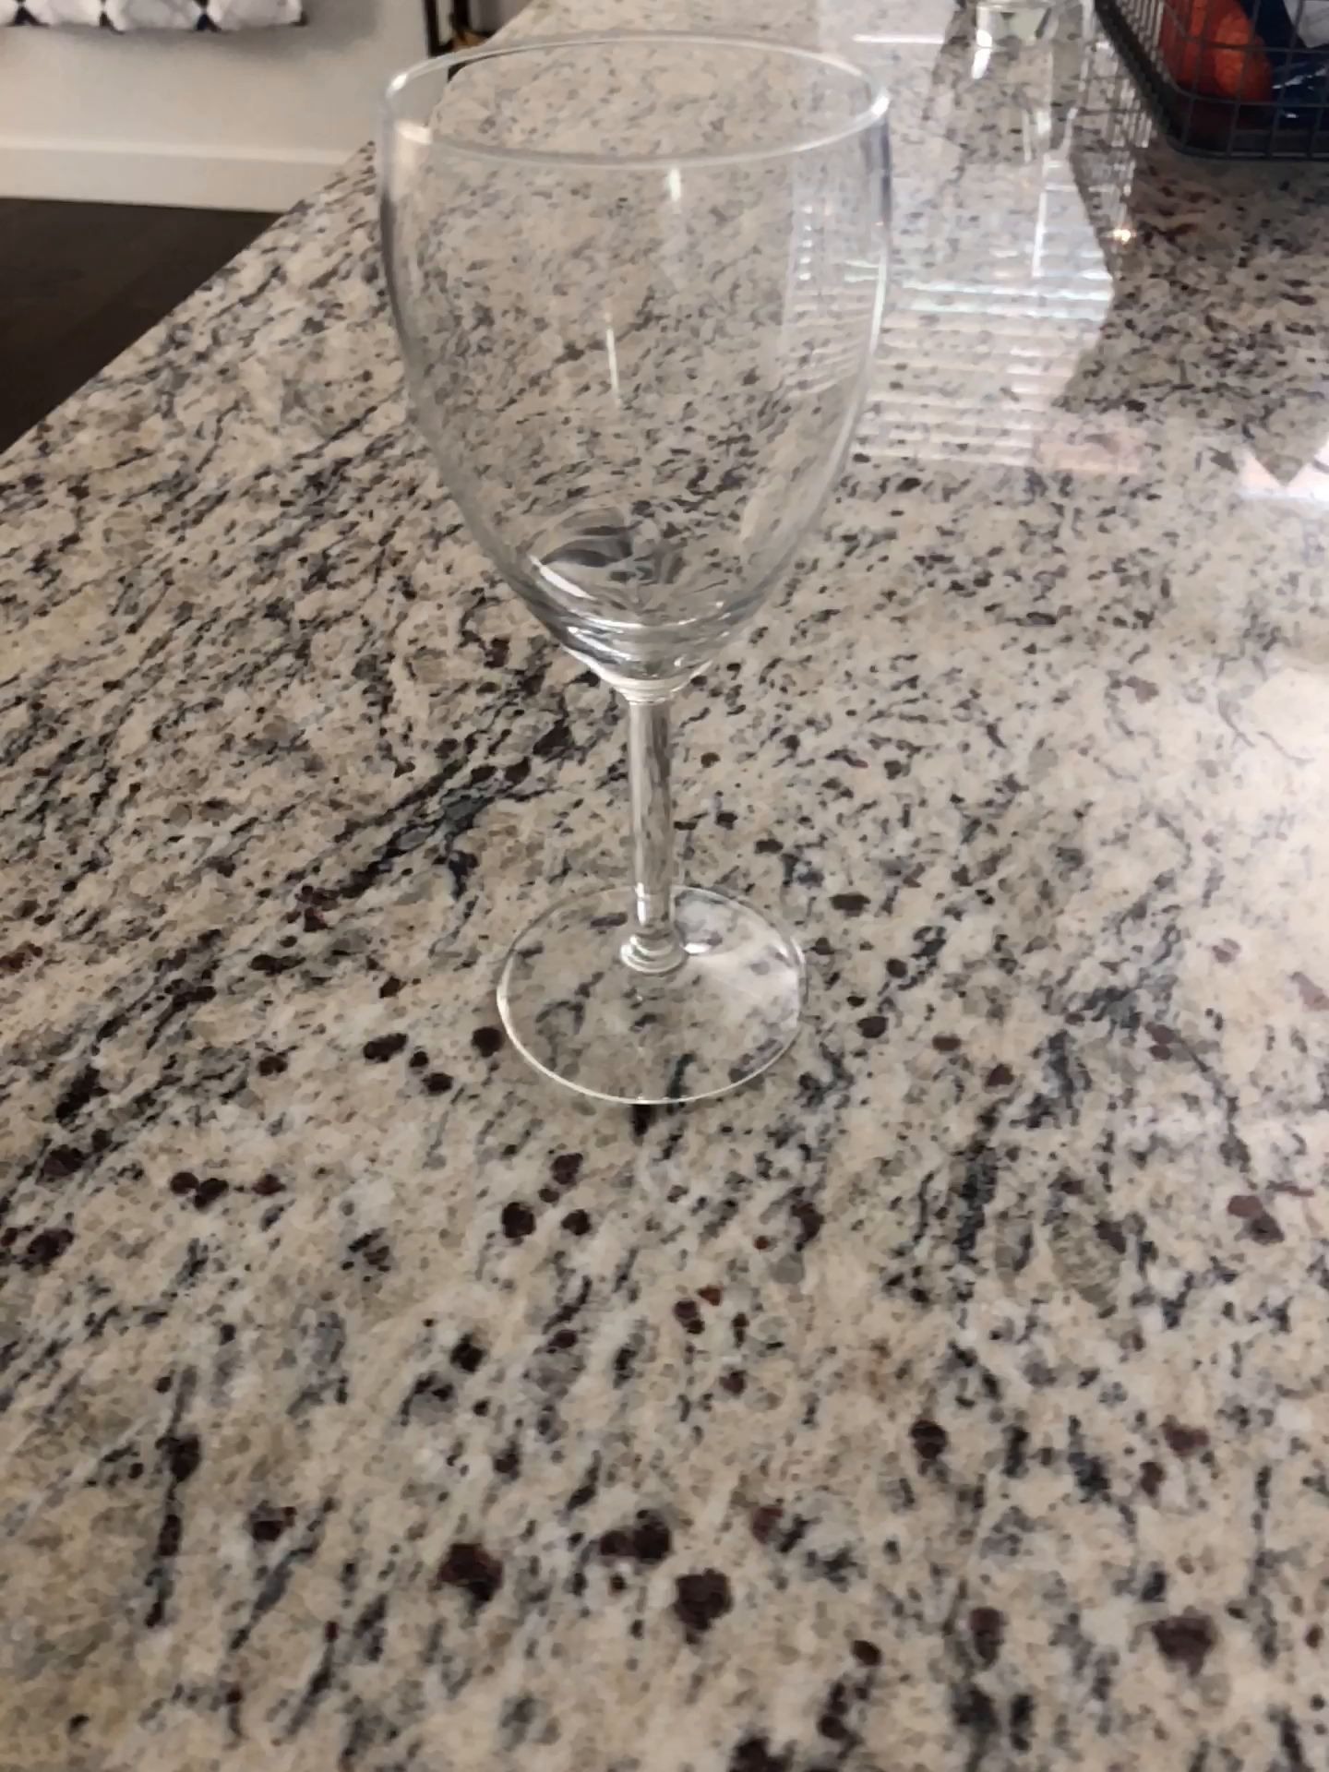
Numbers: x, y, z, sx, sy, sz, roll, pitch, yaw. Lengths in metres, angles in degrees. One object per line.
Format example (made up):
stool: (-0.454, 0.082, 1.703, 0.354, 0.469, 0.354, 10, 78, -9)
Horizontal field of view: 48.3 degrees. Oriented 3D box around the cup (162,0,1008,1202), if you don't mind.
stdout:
cup: (-0.009, -0.045, 0.253, 0.080, 0.169, 0.080, 0, 40, 0)
